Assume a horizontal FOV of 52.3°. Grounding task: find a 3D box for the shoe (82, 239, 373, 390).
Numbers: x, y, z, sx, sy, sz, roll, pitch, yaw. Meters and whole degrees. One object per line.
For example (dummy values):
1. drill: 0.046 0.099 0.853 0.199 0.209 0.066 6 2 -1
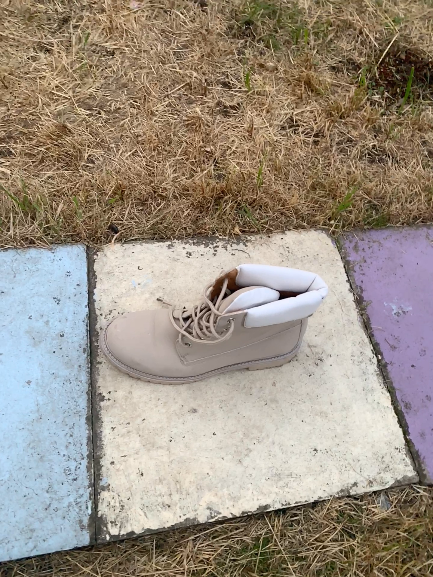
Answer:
1. shoe: 0.000 0.042 0.527 0.280 0.199 0.101 0 62 -10
